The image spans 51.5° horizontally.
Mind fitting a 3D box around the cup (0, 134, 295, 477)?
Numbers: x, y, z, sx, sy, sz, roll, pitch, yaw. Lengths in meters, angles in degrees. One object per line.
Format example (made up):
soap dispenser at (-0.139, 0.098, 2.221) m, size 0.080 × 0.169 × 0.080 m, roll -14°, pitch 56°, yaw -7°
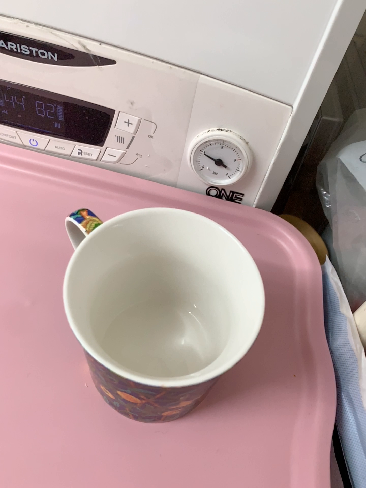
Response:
cup at (-0.030, 0.023, 0.185) m, size 0.080 × 0.079 × 0.120 m, roll -29°, pitch 61°, yaw -32°
